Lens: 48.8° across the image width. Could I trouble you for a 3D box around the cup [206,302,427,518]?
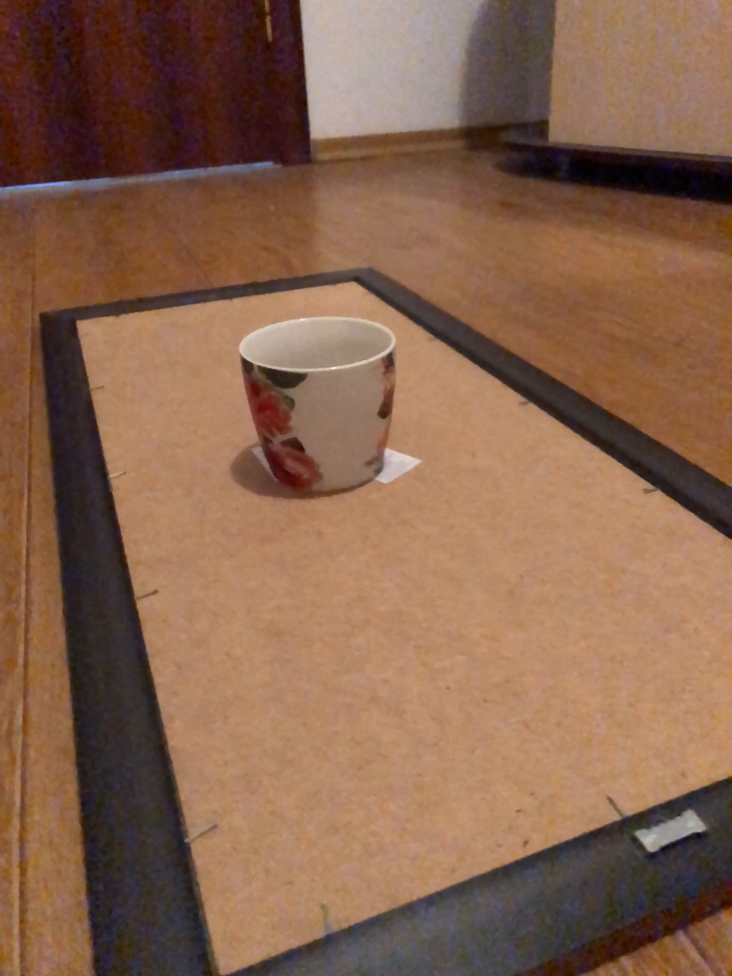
[{"bbox_3d":[-0.033,-0.055,0.504,0.098,0.079,0.122,-13,30,-18],"label":"cup"}]
